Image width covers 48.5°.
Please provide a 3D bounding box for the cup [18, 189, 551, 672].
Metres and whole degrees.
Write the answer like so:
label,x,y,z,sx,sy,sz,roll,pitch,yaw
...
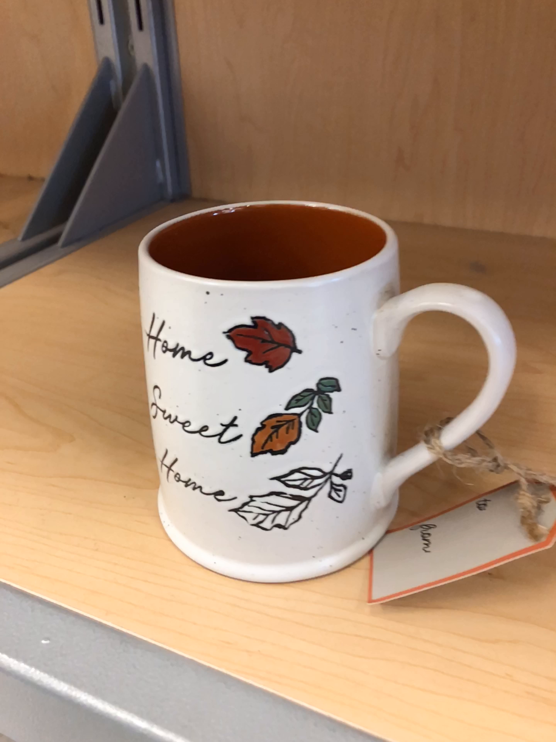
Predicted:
label,x,y,z,sx,sy,sz,roll,pitch,yaw
cup,0.008,0.008,0.194,0.125,0.099,0.081,10,33,20
